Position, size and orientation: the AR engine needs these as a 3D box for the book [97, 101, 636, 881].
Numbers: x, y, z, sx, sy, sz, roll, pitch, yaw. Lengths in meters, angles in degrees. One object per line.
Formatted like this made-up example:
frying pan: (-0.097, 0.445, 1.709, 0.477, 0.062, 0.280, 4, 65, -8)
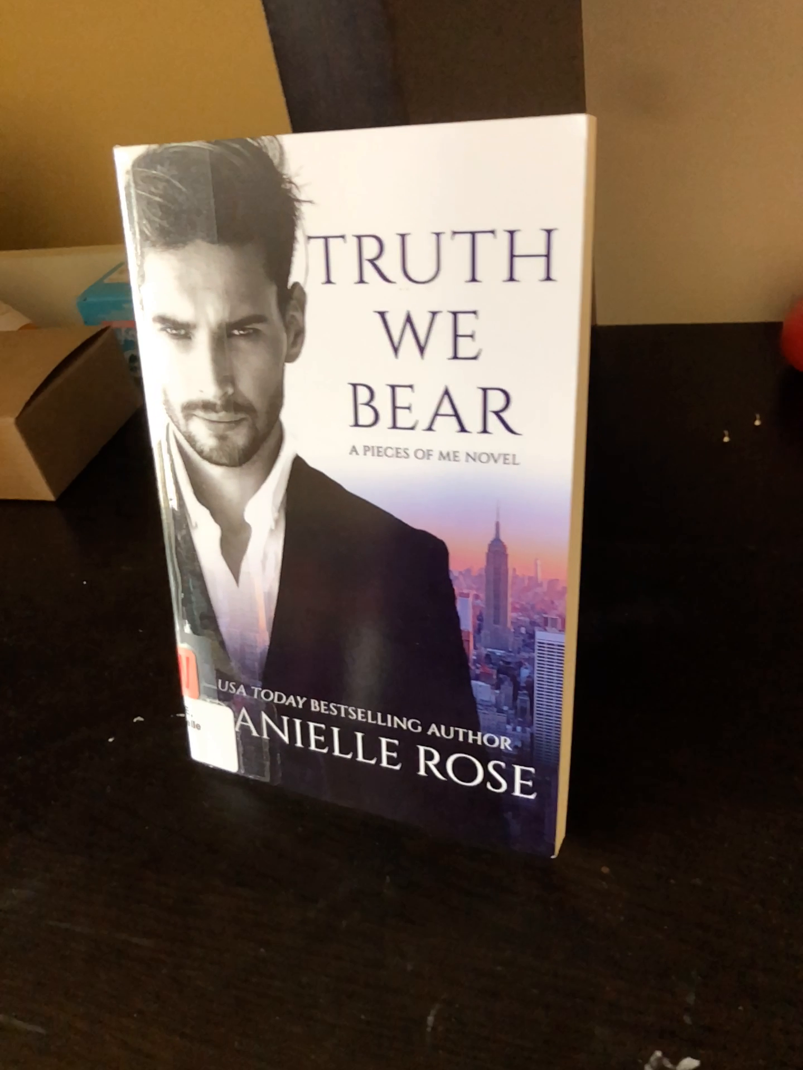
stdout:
book: (-0.012, -0.007, 0.277, 0.150, 0.220, 0.020, 6, 21, 21)
